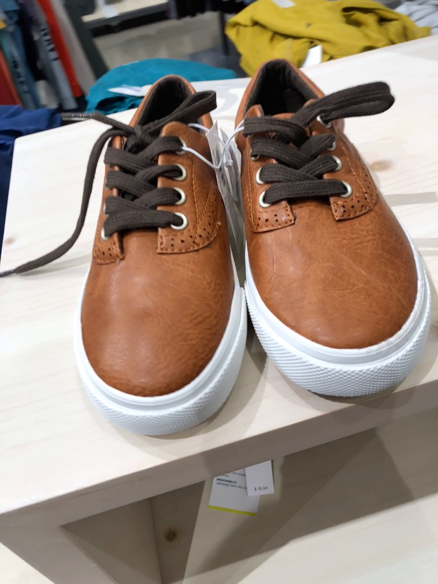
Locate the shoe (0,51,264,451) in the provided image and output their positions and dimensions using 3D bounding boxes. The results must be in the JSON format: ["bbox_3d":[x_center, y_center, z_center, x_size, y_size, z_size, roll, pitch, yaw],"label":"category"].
[{"bbox_3d":[-0.029,-0.040,0.266,0.090,0.090,0.221,-5,44,7],"label":"shoe"}]

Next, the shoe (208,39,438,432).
[{"bbox_3d":[0.048,-0.048,0.253,0.090,0.080,0.211,-8,43,4],"label":"shoe"}]
